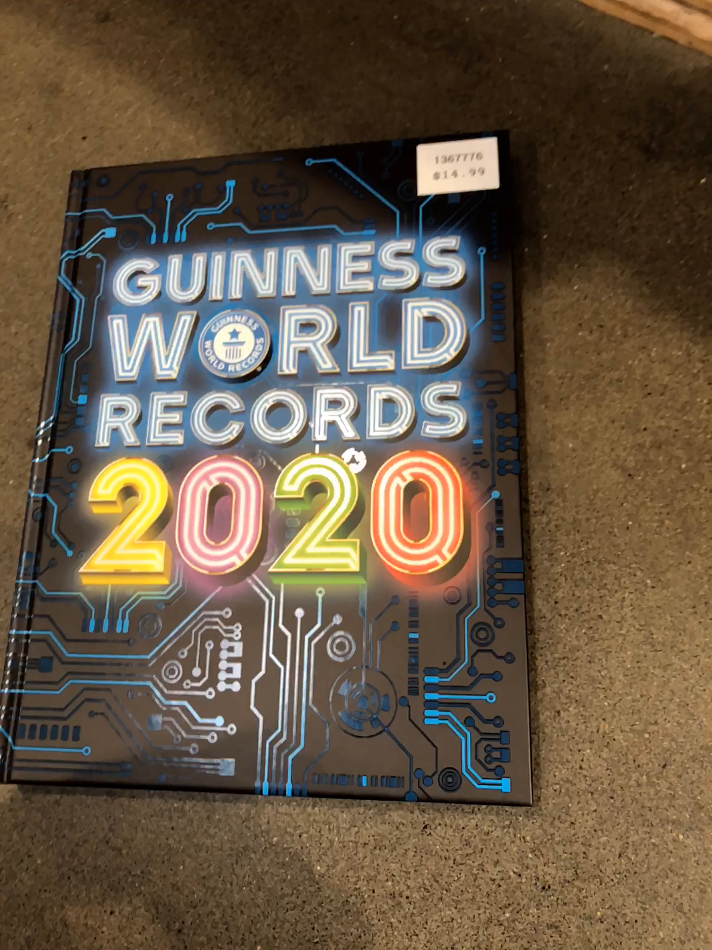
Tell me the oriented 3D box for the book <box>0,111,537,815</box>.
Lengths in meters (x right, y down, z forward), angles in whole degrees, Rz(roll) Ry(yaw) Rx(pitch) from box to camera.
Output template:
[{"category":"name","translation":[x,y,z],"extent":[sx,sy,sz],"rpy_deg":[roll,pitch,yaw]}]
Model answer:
[{"category":"book","translation":[-0.045,-0.017,0.371],"extent":[0.240,0.030,0.312],"rpy_deg":[-1,74,9]}]
